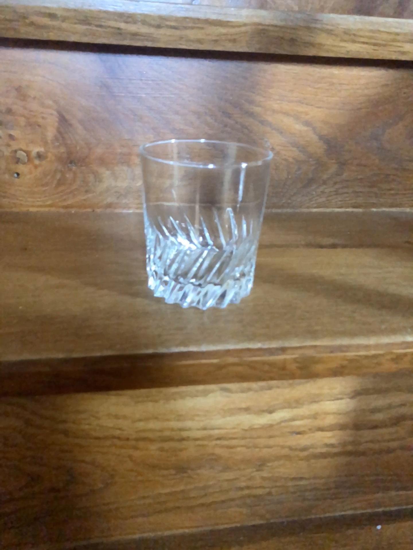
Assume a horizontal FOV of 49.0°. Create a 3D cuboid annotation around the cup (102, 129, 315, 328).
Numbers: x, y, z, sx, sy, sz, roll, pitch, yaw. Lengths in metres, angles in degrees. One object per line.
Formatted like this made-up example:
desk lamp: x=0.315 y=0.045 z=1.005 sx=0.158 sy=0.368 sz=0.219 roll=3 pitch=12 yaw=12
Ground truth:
cup: x=-0.002 y=-0.038 z=0.287 sx=0.090 sy=0.090 sz=0.090 roll=2 pitch=24 yaw=-1
